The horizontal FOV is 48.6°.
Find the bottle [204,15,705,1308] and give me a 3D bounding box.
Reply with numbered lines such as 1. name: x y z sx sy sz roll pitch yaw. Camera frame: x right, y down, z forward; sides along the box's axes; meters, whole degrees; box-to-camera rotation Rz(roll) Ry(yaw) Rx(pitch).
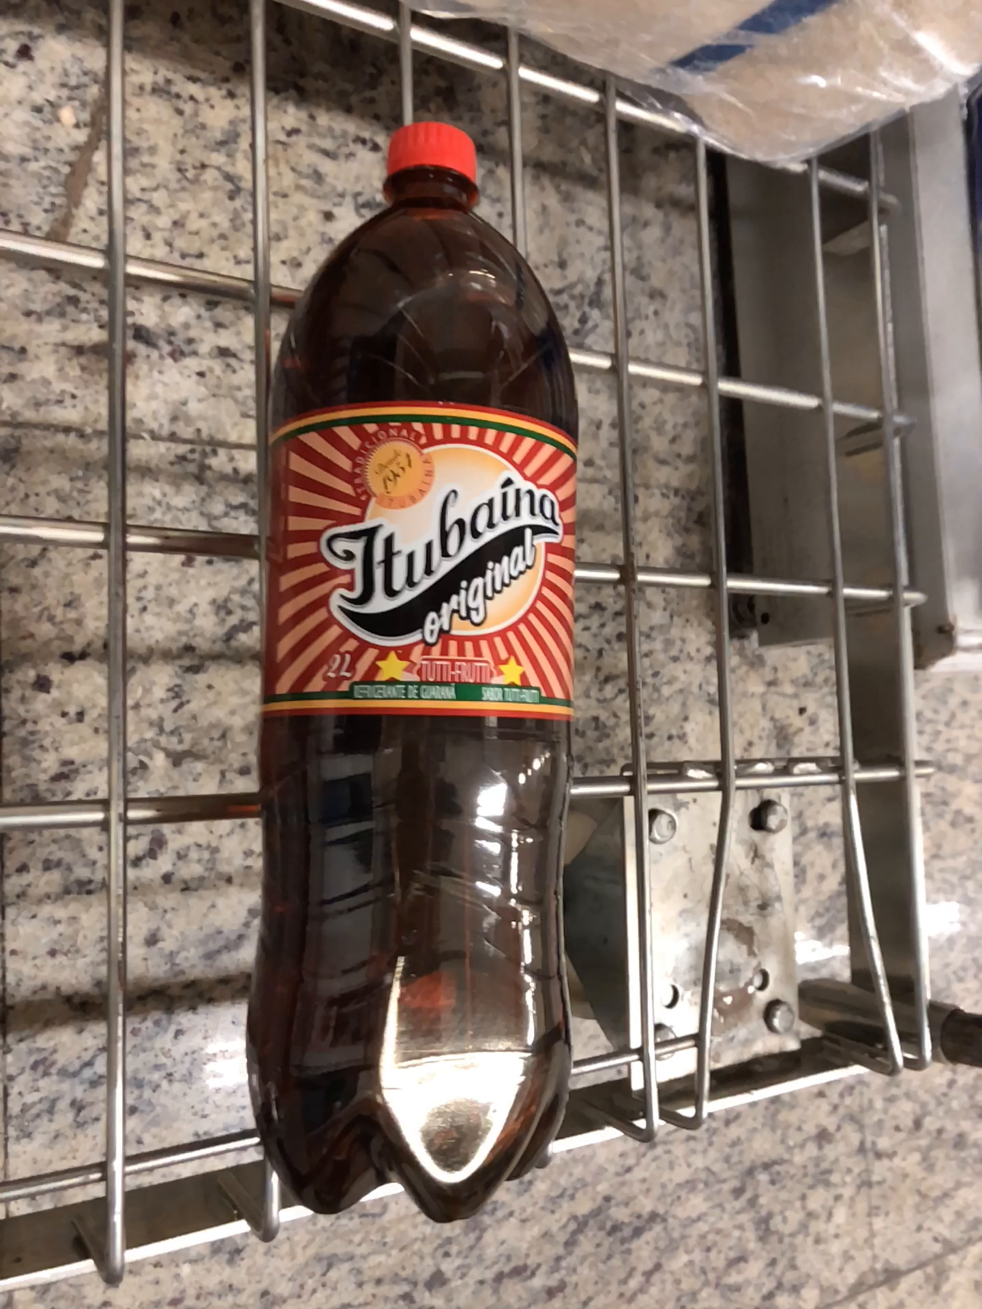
1. bottle: -0.009 0.003 0.322 0.110 0.070 0.320 5 86 -30
